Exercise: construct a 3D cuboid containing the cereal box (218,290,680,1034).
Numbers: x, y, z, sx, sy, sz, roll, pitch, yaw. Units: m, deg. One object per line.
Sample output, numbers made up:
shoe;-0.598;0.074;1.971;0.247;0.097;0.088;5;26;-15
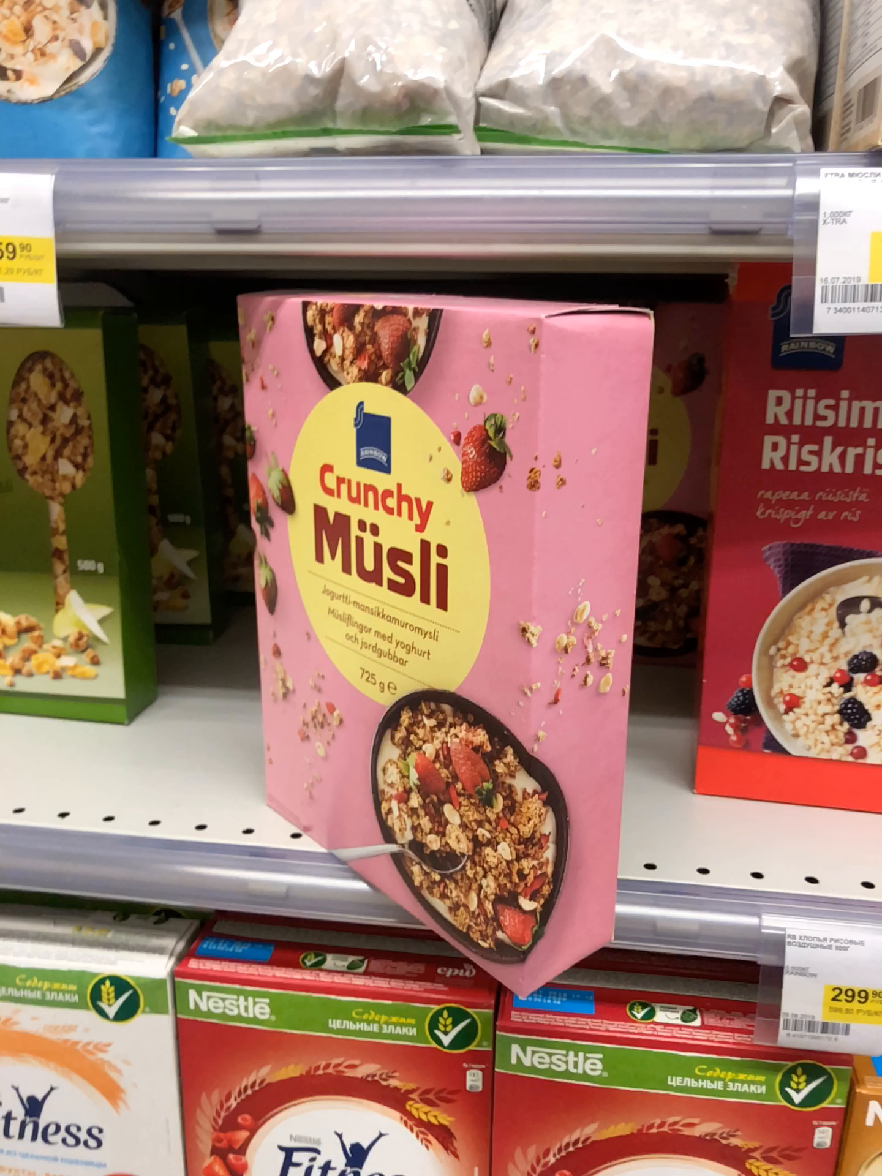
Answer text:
cereal box;-0.010;0.012;0.414;0.060;0.259;0.200;-15;23;-39
